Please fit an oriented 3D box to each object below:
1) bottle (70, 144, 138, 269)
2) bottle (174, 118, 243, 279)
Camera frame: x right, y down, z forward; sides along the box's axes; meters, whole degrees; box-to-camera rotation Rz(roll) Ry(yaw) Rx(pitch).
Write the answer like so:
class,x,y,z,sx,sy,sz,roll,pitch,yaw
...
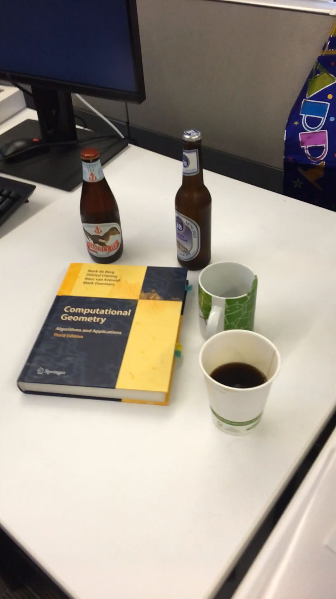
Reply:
class,x,y,z,sx,sy,sz,roll,pitch,yaw
bottle,-0.093,-0.139,0.768,0.070,0.180,0.070,-2,43,2
bottle,0.060,-0.145,0.742,0.070,0.220,0.060,-29,48,-24
